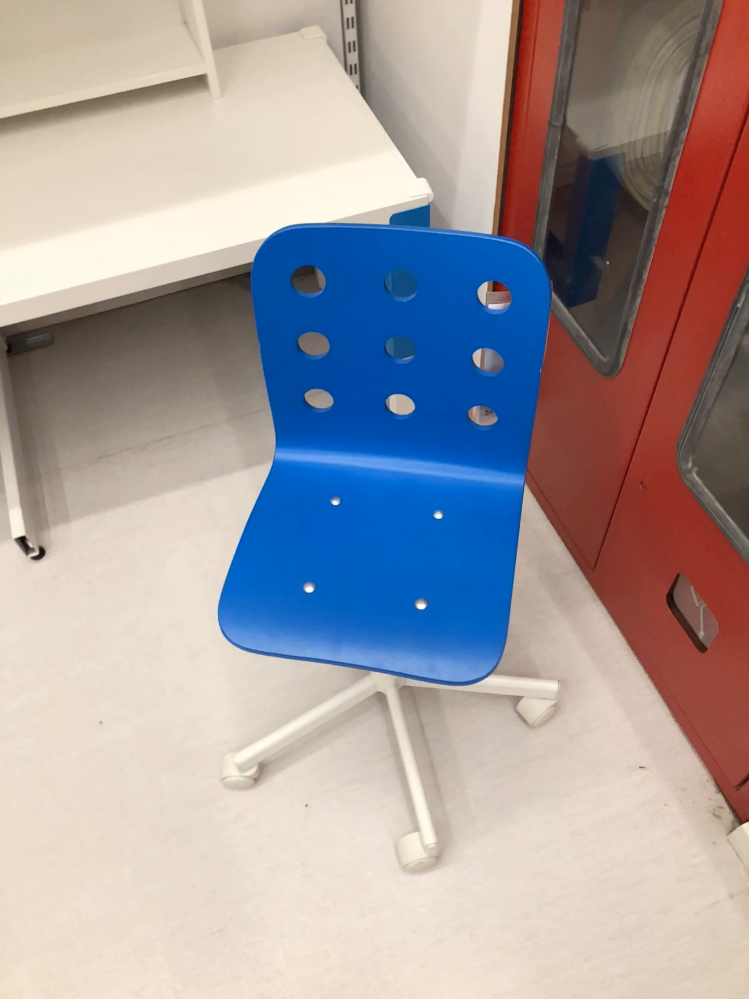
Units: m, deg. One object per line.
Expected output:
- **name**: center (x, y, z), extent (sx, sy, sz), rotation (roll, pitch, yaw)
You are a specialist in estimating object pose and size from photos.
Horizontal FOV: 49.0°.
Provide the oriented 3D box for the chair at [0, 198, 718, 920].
- **chair**: center (-0.005, 0.112, 0.958), extent (0.550, 0.686, 0.493), rotation (6, 54, 8)
